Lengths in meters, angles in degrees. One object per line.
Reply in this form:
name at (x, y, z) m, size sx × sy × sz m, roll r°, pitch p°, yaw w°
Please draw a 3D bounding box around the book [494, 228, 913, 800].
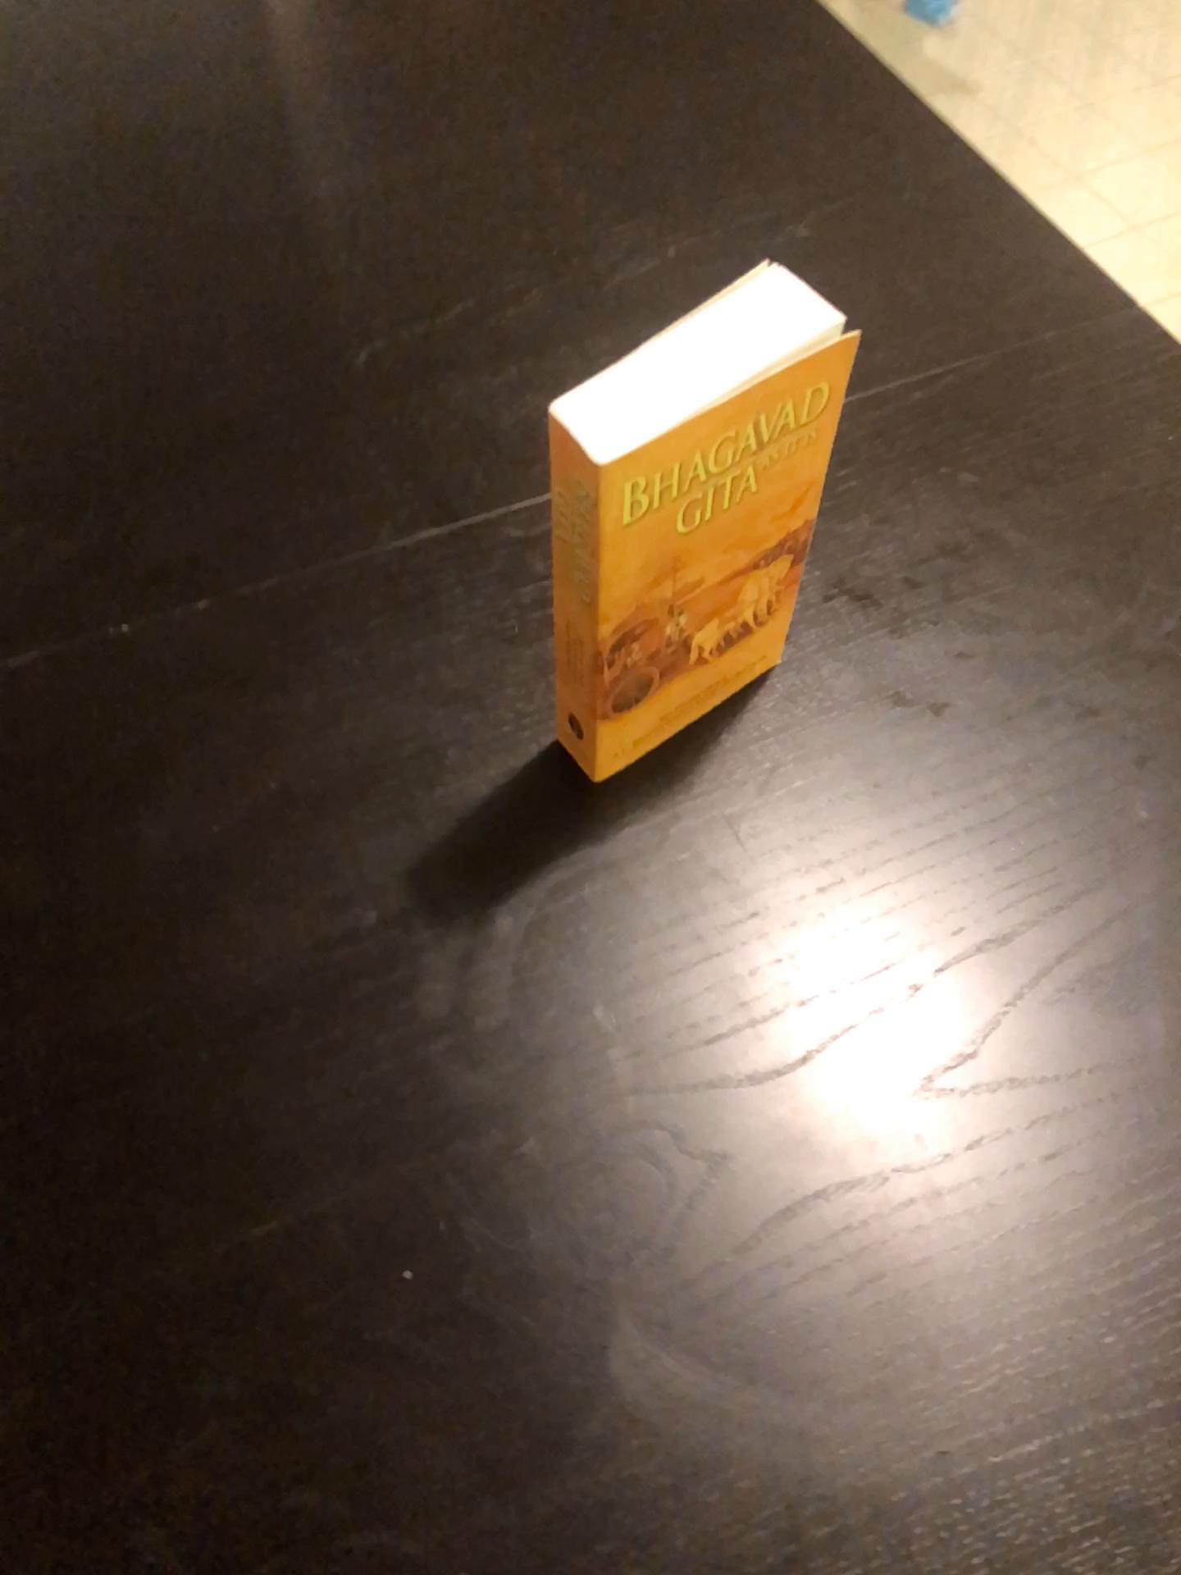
book at (0.038, -0.094, 0.489) m, size 0.126 × 0.174 × 0.059 m, roll -33°, pitch 63°, yaw -19°
